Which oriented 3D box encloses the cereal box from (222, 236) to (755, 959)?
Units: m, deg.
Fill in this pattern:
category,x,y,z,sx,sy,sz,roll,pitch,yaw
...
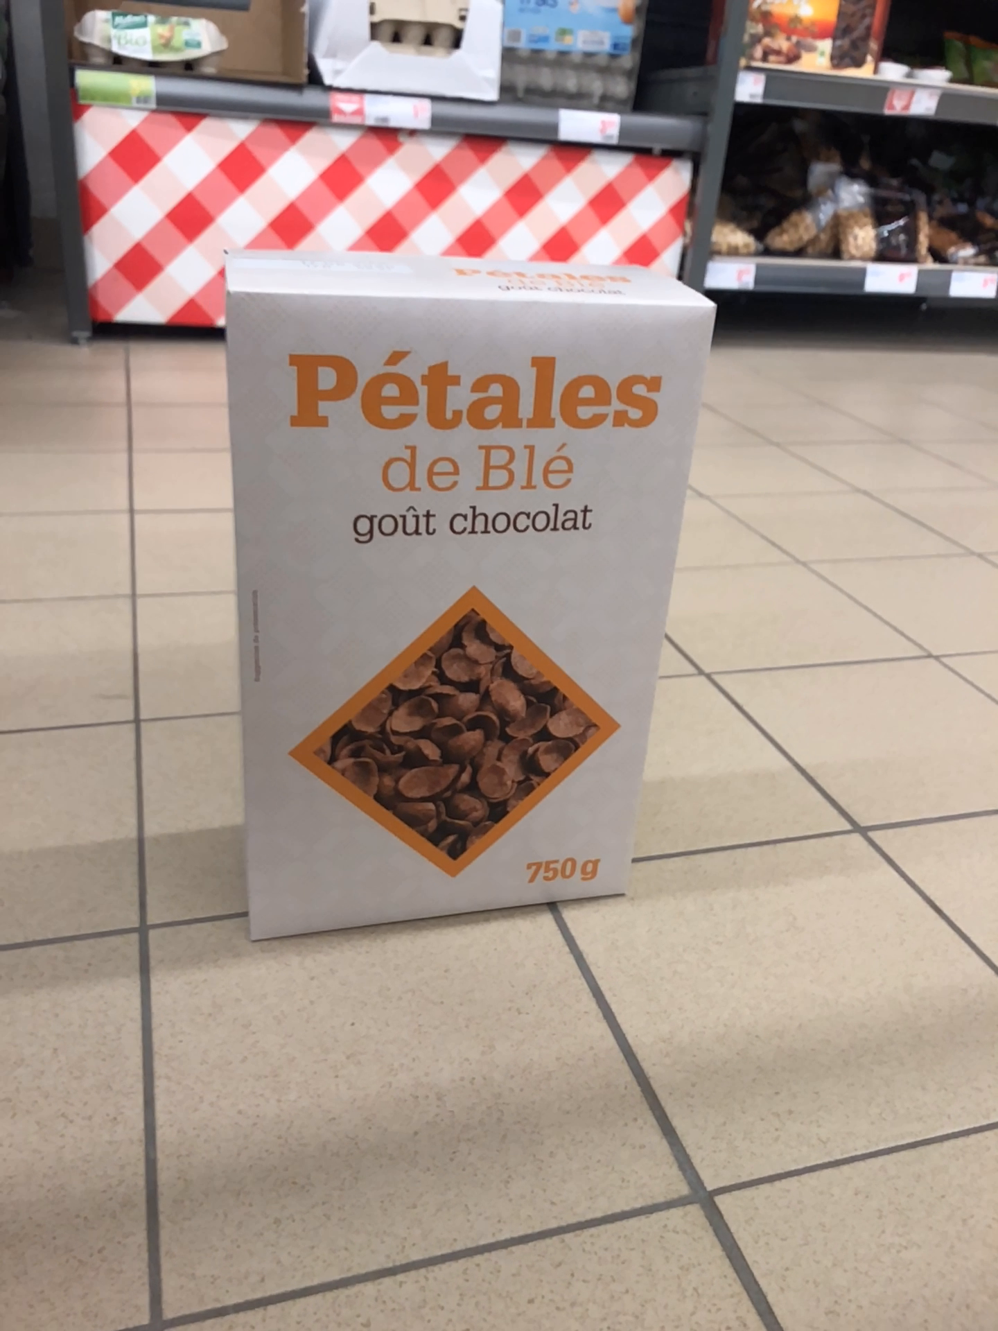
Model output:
category,x,y,z,sx,sy,sz,roll,pitch,yaw
cereal box,-0.019,-0.027,0.491,0.190,0.288,0.100,-3,27,-15
